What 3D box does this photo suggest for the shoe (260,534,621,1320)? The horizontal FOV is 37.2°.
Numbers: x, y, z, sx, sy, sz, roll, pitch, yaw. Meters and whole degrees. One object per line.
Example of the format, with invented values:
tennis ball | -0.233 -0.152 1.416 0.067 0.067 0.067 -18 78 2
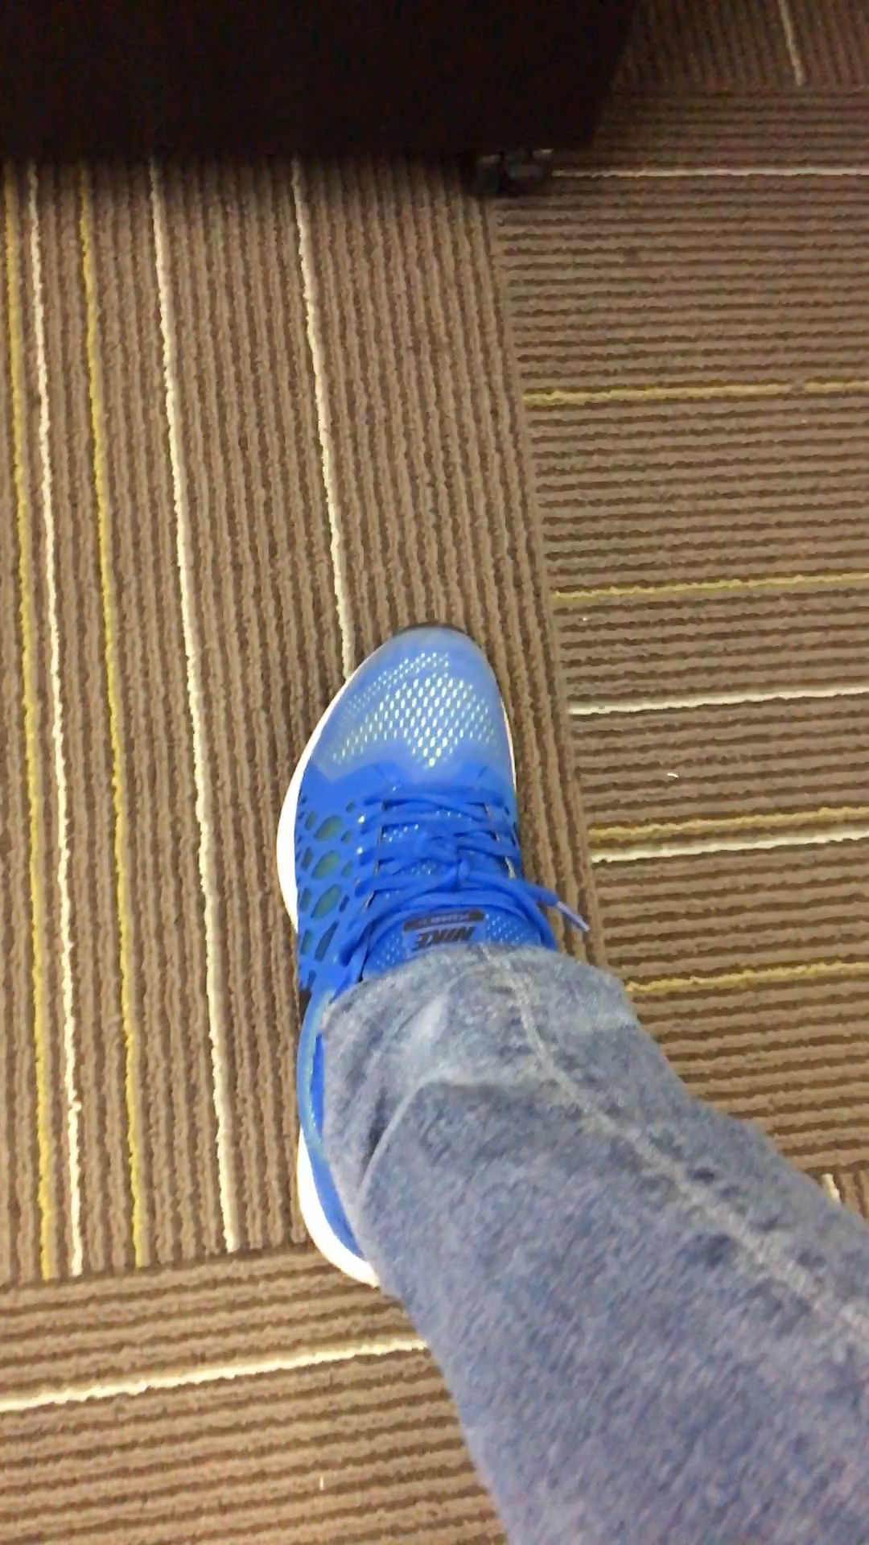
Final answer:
shoe | -0.004 0.062 0.528 0.120 0.110 0.290 3 71 -7
